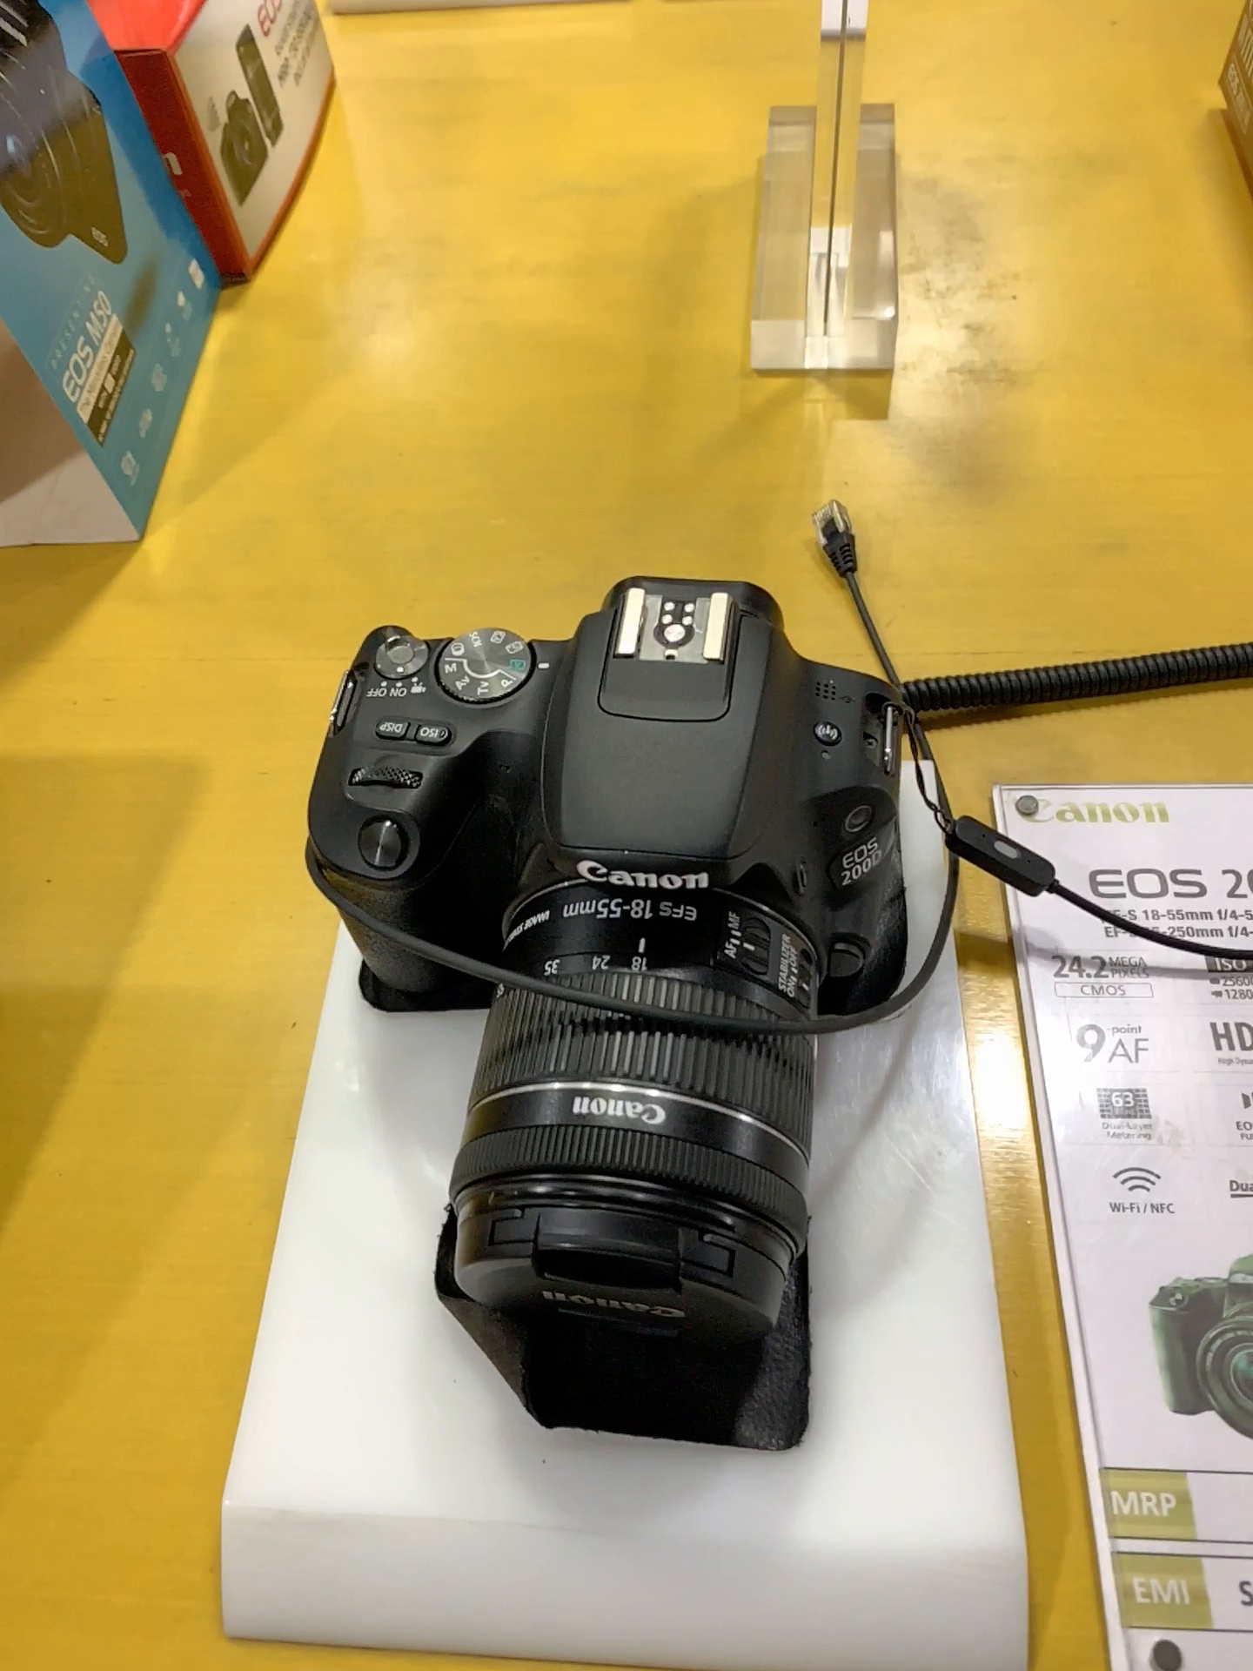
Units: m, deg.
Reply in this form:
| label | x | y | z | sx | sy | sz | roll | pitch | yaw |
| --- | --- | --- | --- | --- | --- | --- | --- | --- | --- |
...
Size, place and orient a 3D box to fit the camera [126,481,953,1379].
| label | x | y | z | sx | sy | sz | roll | pitch | yaw |
| --- | --- | --- | --- | --- | --- | --- | --- | --- | --- |
| camera | -0.004 | 0.011 | 0.258 | 0.120 | 0.070 | 0.160 | 2 | 55 | 7 |
